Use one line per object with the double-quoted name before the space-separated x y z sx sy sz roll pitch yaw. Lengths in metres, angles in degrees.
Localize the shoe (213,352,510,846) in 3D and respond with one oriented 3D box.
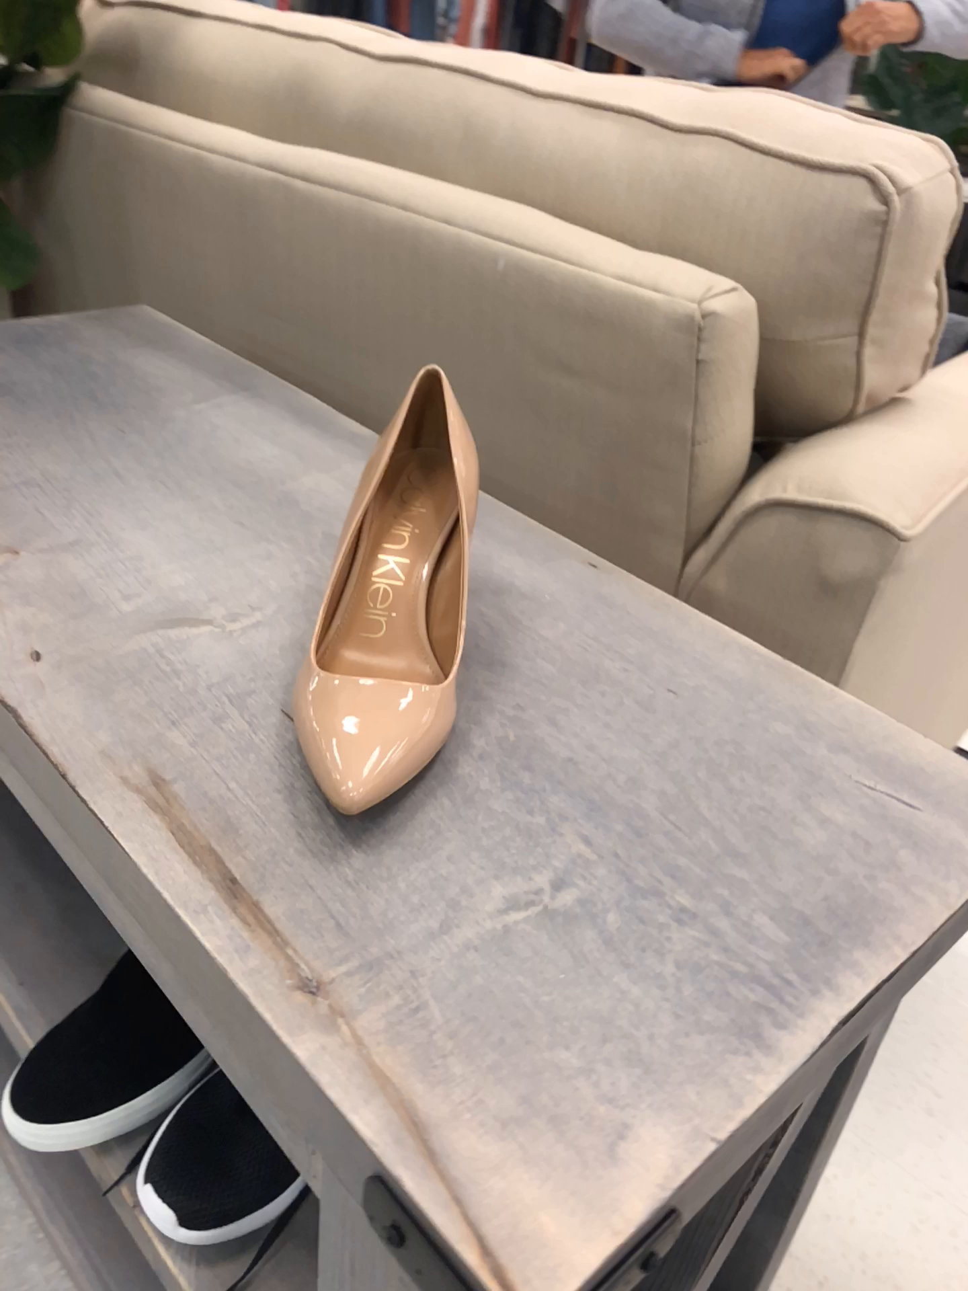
"shoe" -0.050 -0.043 0.550 0.096 0.129 0.270 7 32 1
